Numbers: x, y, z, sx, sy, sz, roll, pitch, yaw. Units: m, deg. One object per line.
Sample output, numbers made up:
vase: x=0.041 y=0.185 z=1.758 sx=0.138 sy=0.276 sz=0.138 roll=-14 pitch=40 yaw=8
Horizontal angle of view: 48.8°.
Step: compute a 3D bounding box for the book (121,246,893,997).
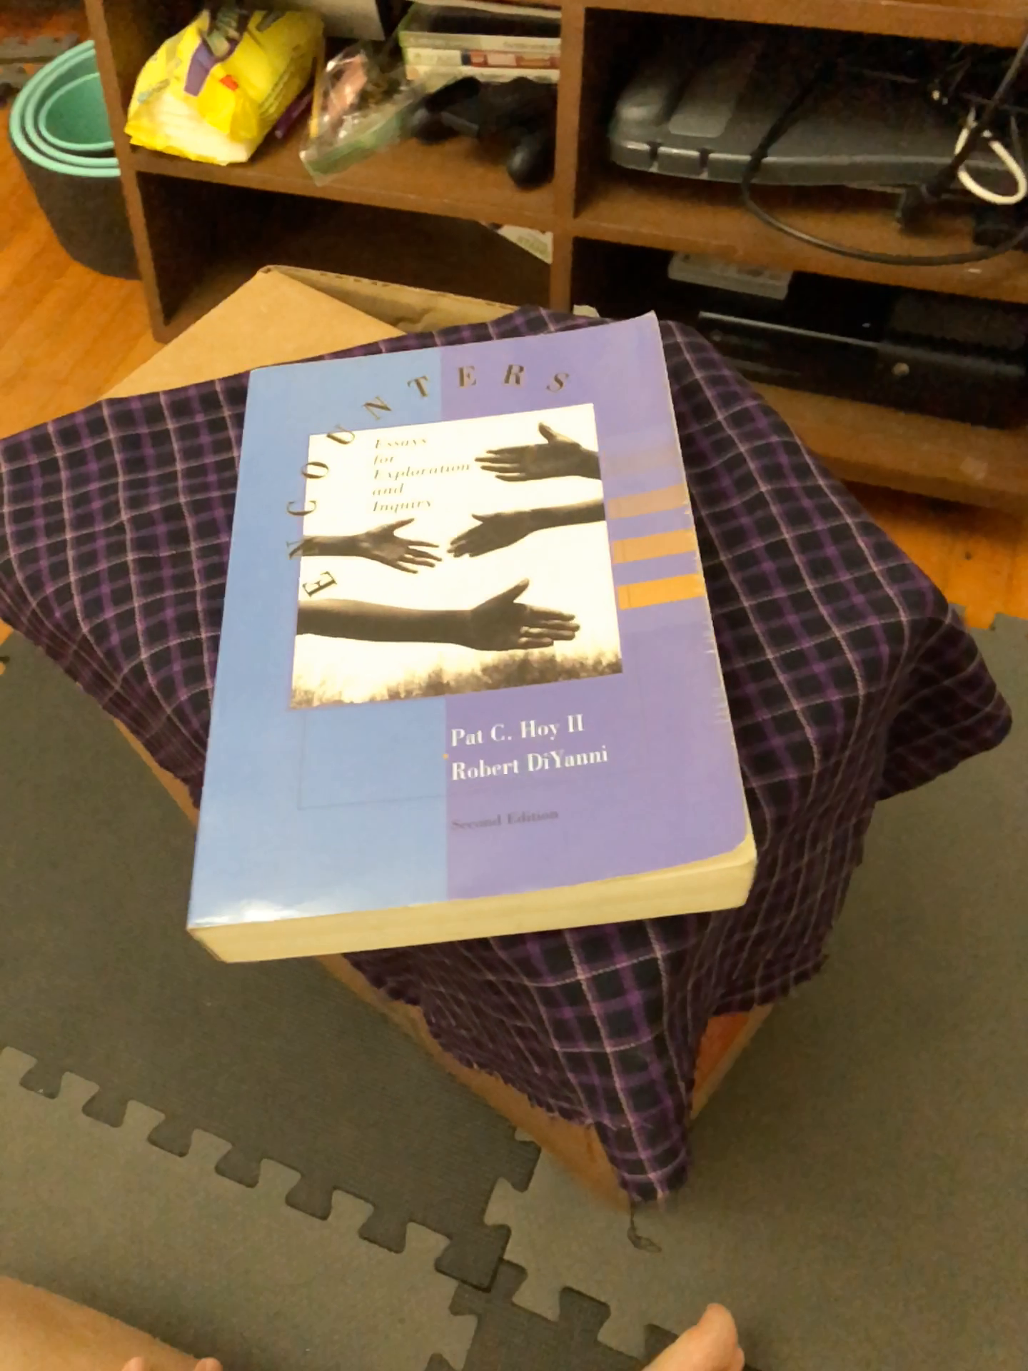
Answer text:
book: x=-0.009 y=-0.039 z=0.382 sx=0.200 sy=0.040 sz=0.261 roll=-6 pitch=56 yaw=3
